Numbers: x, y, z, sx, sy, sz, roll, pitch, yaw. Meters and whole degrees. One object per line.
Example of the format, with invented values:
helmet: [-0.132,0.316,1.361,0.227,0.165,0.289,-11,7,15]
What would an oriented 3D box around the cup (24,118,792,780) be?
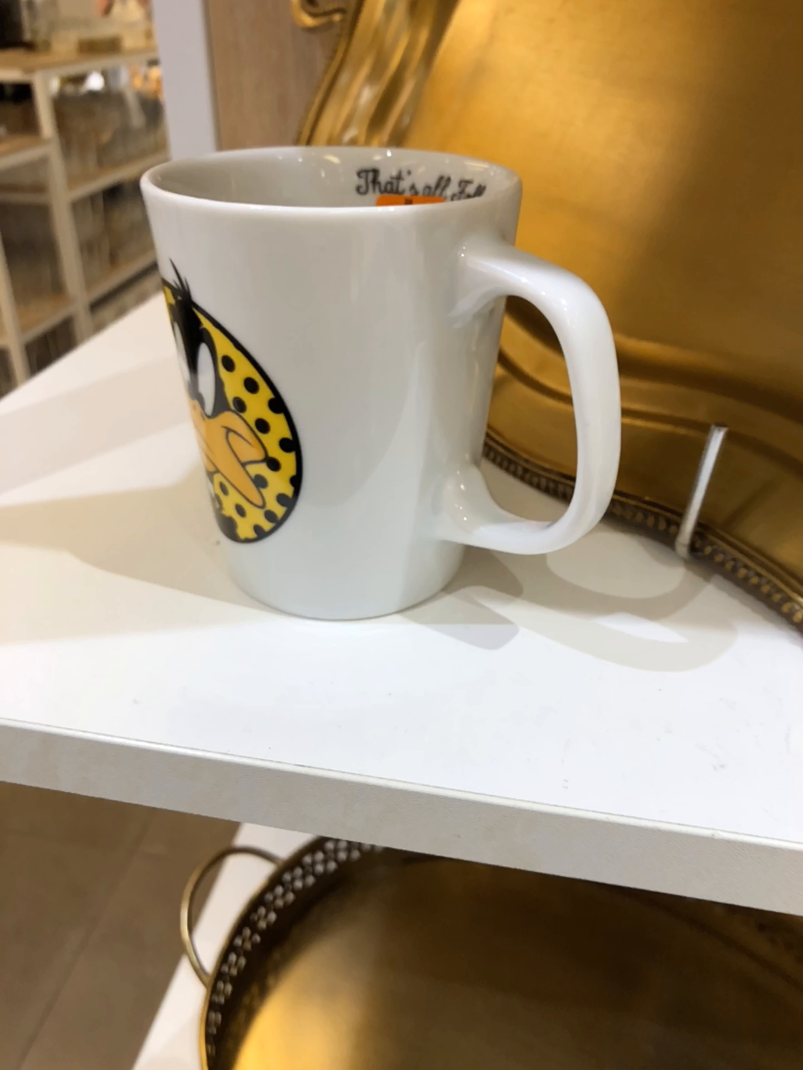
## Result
cup: [0.000,-0.033,0.200,0.120,0.089,0.091,24,38,33]
